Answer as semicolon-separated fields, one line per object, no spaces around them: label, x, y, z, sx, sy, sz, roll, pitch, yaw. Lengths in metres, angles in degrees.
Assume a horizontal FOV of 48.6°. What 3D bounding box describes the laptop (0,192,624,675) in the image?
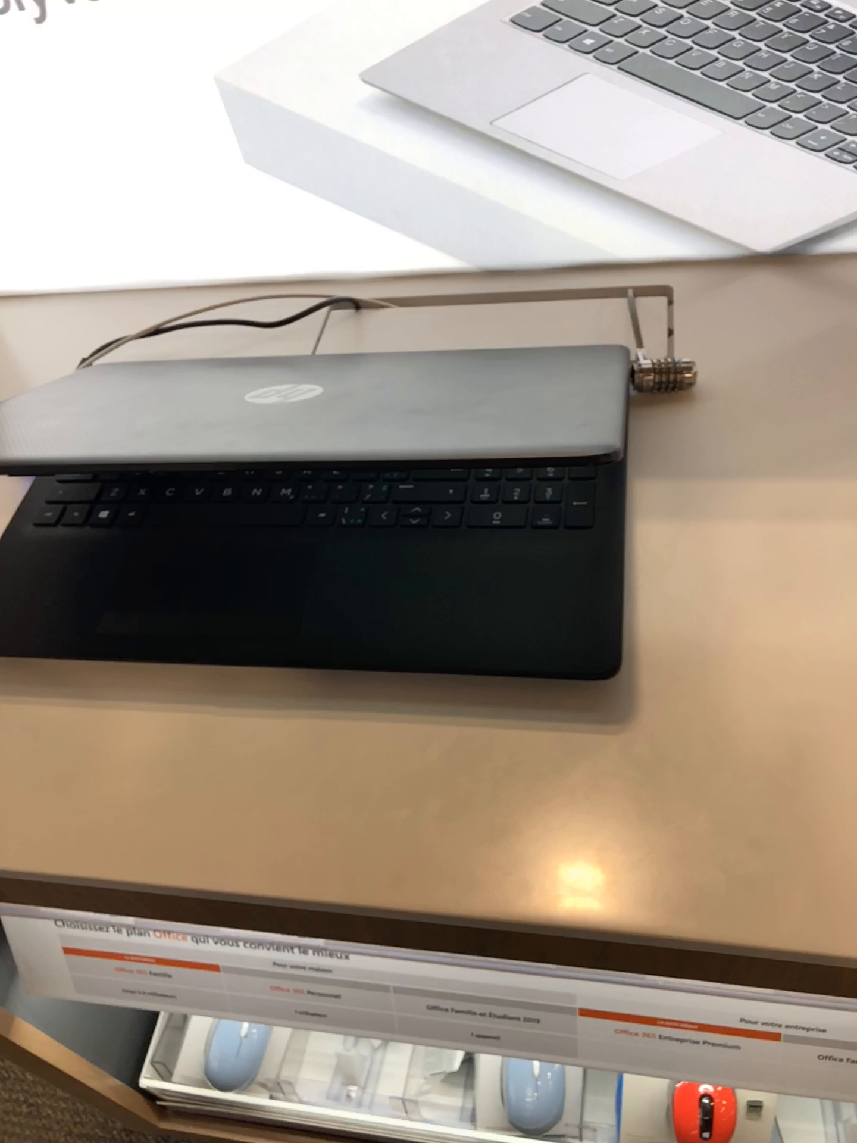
laptop;-0.077;-0.082;0.516;0.352;0.107;0.239;1;50;14
